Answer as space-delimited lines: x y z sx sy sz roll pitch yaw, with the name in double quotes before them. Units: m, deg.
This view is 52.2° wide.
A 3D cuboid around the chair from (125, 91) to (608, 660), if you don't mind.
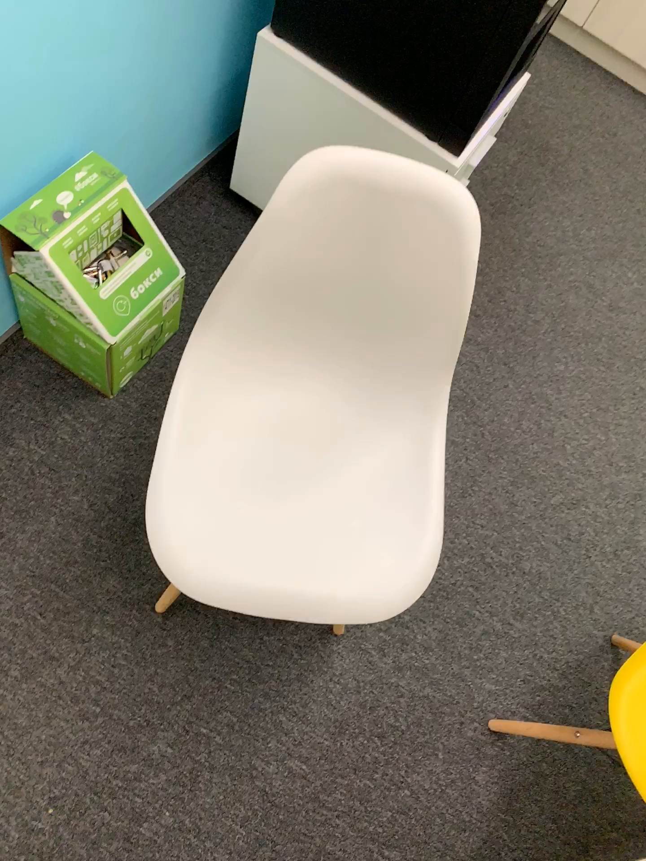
"chair" -0.027 0.034 1.067 0.460 0.817 0.501 11 63 -11
